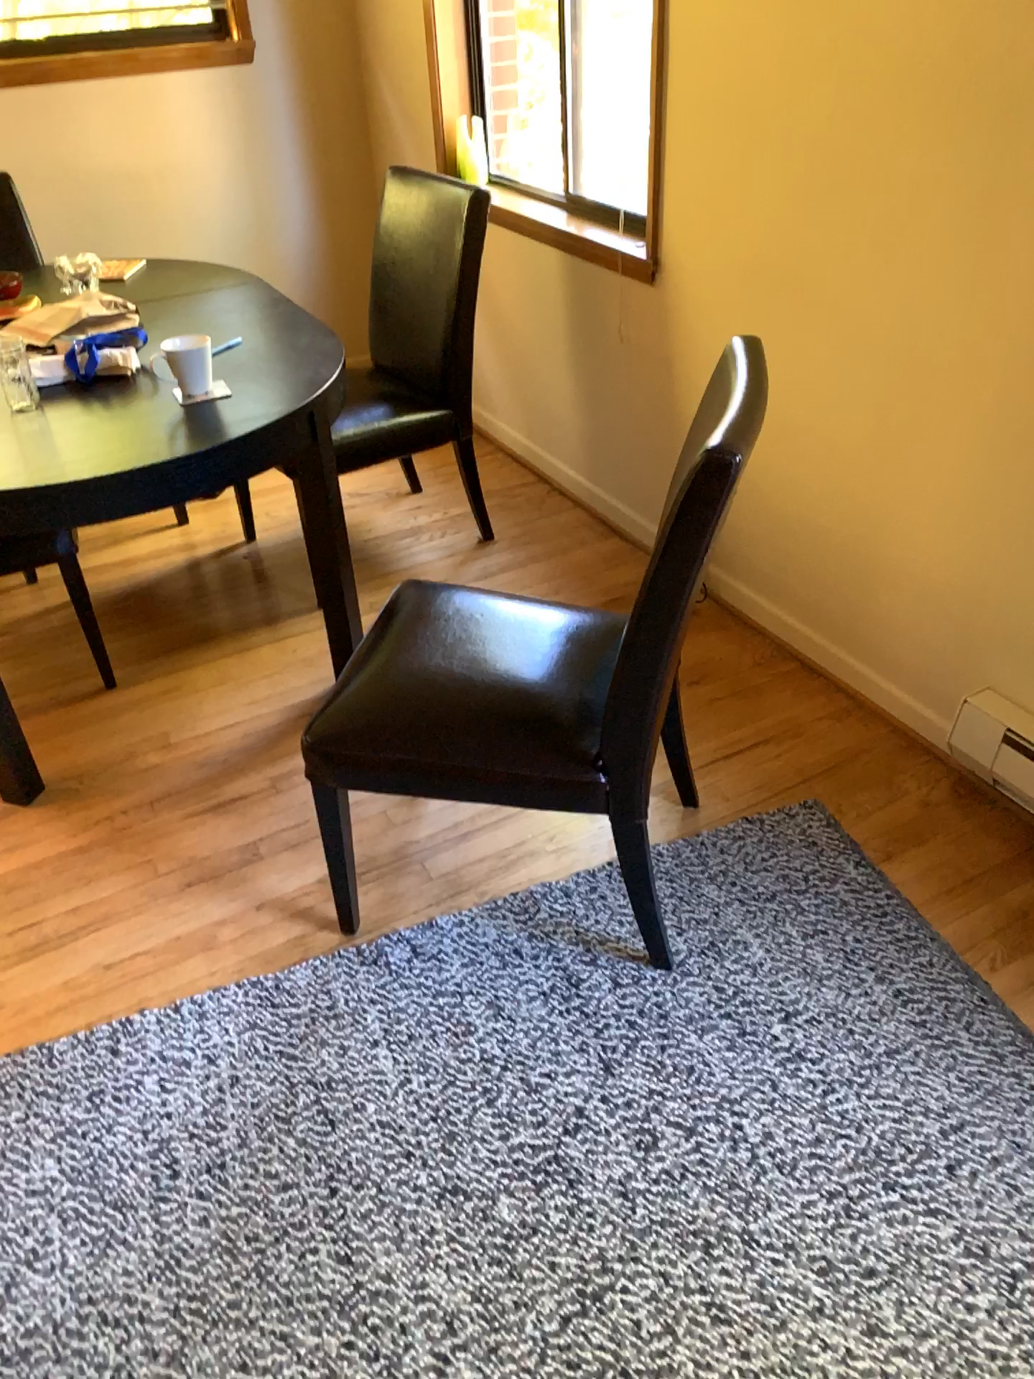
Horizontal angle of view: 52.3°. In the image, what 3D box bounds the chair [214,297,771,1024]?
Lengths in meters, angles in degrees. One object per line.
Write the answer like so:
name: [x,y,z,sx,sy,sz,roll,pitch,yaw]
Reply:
chair: [0.031,-0.046,1.775,0.671,1.033,0.563,5,36,12]
